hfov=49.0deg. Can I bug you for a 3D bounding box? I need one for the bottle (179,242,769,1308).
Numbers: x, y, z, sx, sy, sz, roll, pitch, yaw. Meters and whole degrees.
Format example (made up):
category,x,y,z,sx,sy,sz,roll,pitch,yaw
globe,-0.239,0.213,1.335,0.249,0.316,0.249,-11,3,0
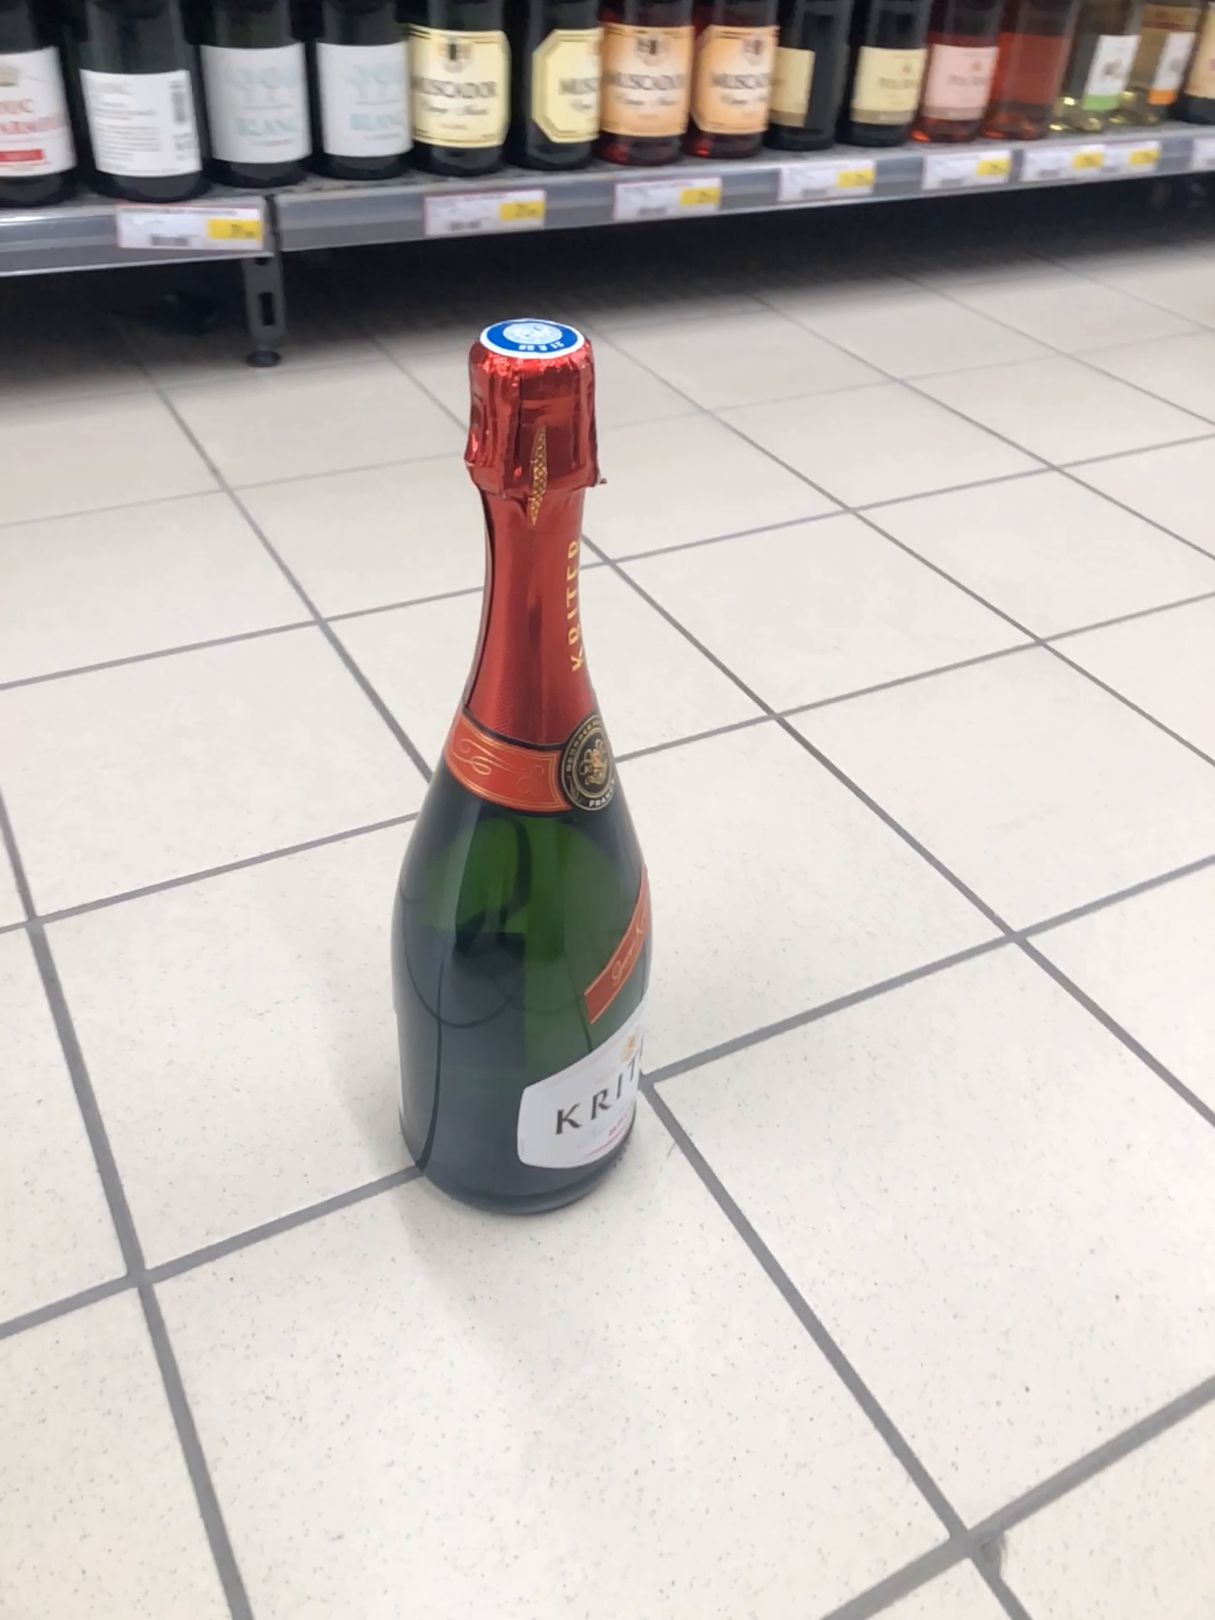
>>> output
category,x,y,z,sx,sy,sz,roll,pitch,yaw
bottle,-0.037,0.002,0.408,0.100,0.298,0.101,3,36,-2
